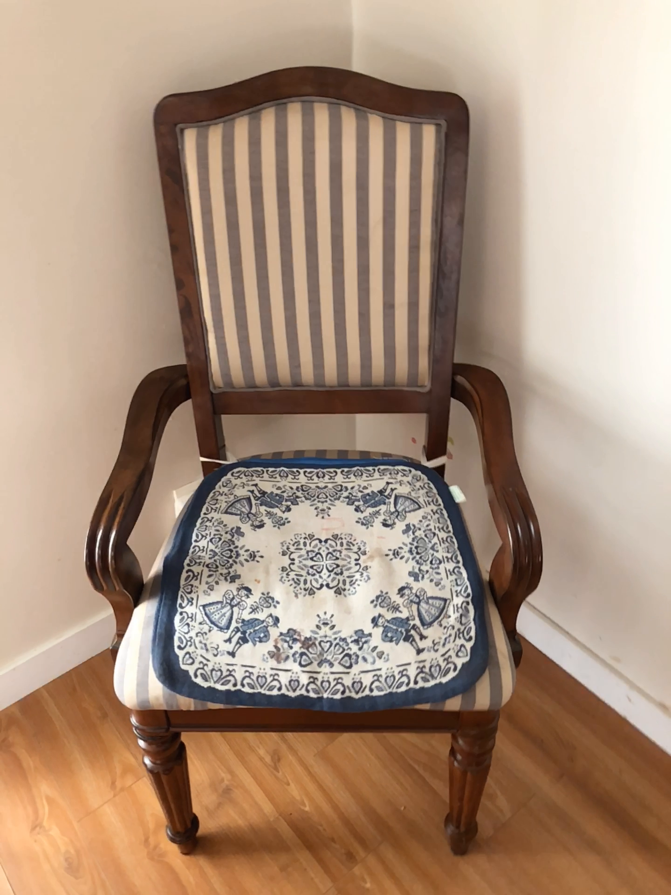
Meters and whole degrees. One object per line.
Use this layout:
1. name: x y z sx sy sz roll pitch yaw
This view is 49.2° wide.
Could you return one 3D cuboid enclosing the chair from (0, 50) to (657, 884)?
1. chair: -0.035 0.076 1.053 0.530 1.043 0.584 -2 37 0
